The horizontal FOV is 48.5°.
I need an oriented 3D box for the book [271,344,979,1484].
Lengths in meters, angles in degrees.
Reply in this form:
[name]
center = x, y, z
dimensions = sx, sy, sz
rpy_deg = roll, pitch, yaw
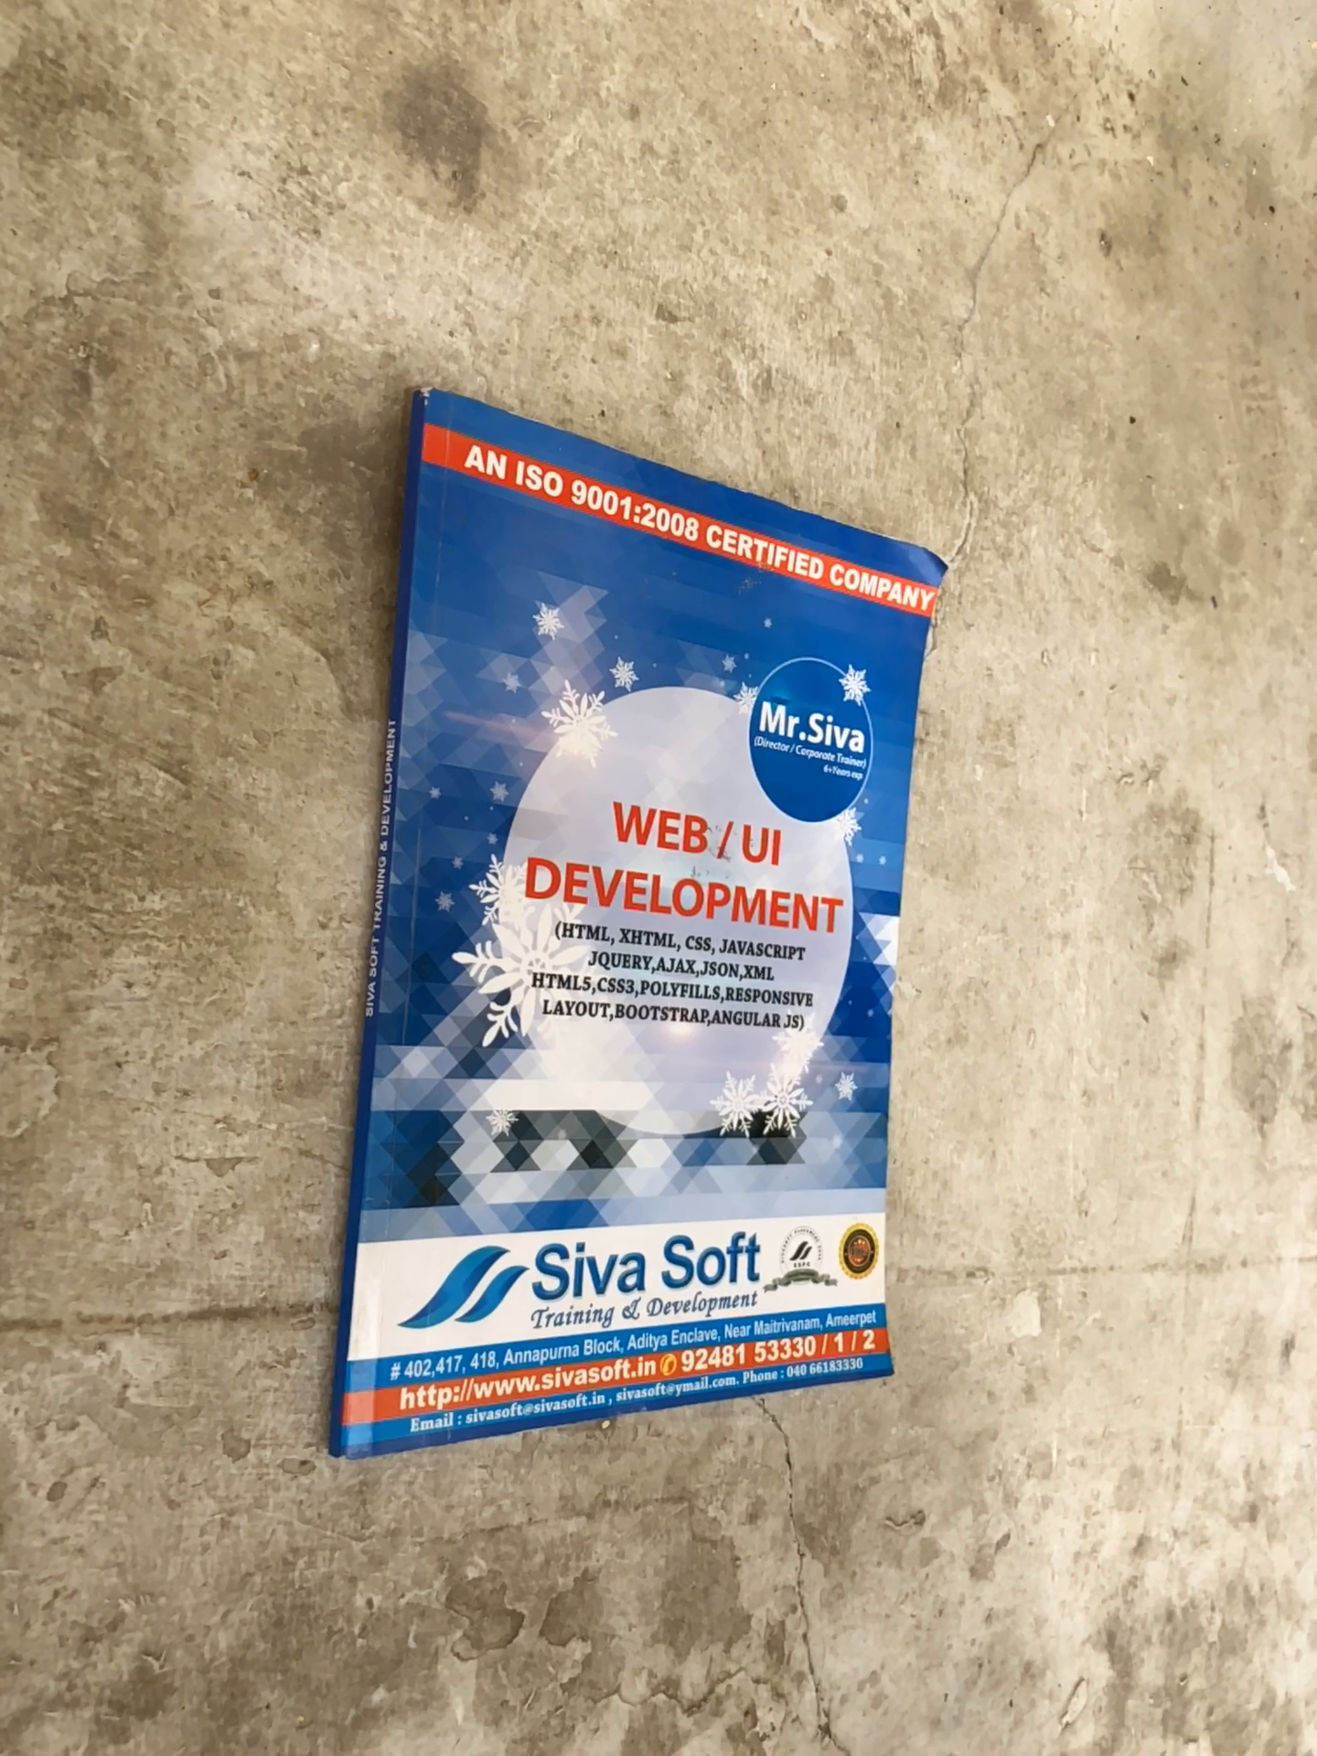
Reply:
[book]
center = 0.005, 0.016, 0.433
dimensions = 0.211, 0.030, 0.280
rpy_deg = 7, 85, -37
